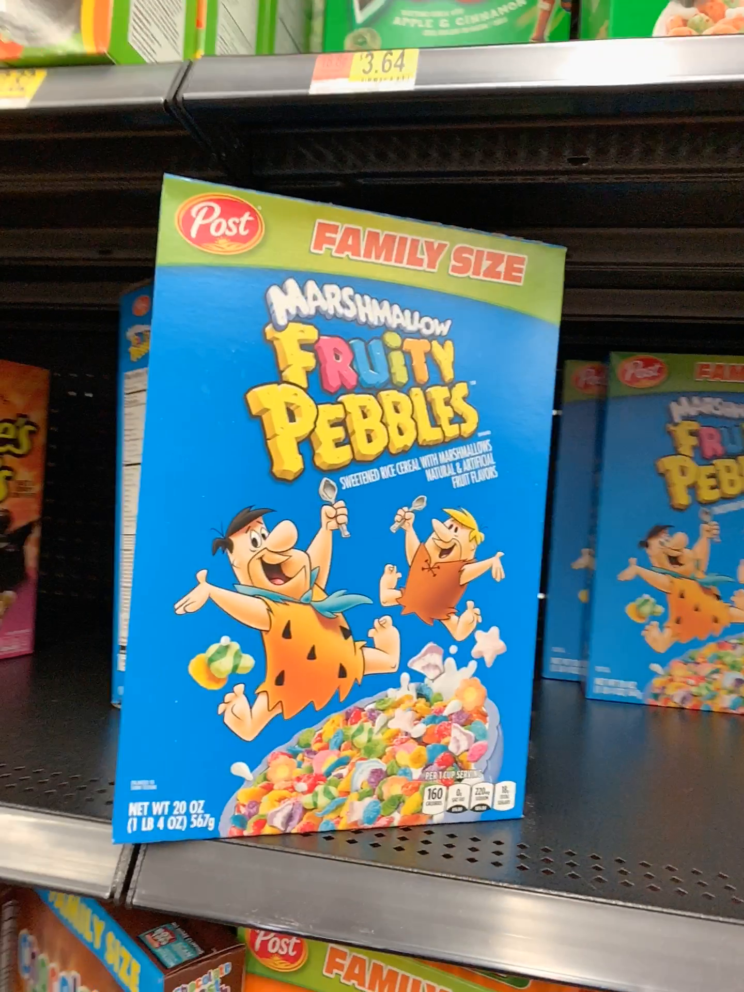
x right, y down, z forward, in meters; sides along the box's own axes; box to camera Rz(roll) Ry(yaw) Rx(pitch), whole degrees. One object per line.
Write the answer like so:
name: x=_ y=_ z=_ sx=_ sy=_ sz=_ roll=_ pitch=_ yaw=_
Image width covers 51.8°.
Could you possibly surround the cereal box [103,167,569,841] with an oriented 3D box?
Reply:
cereal box: x=-0.019 y=0.011 z=0.442 sx=0.230 sy=0.330 sz=0.070 roll=5 pitch=0 yaw=-18
